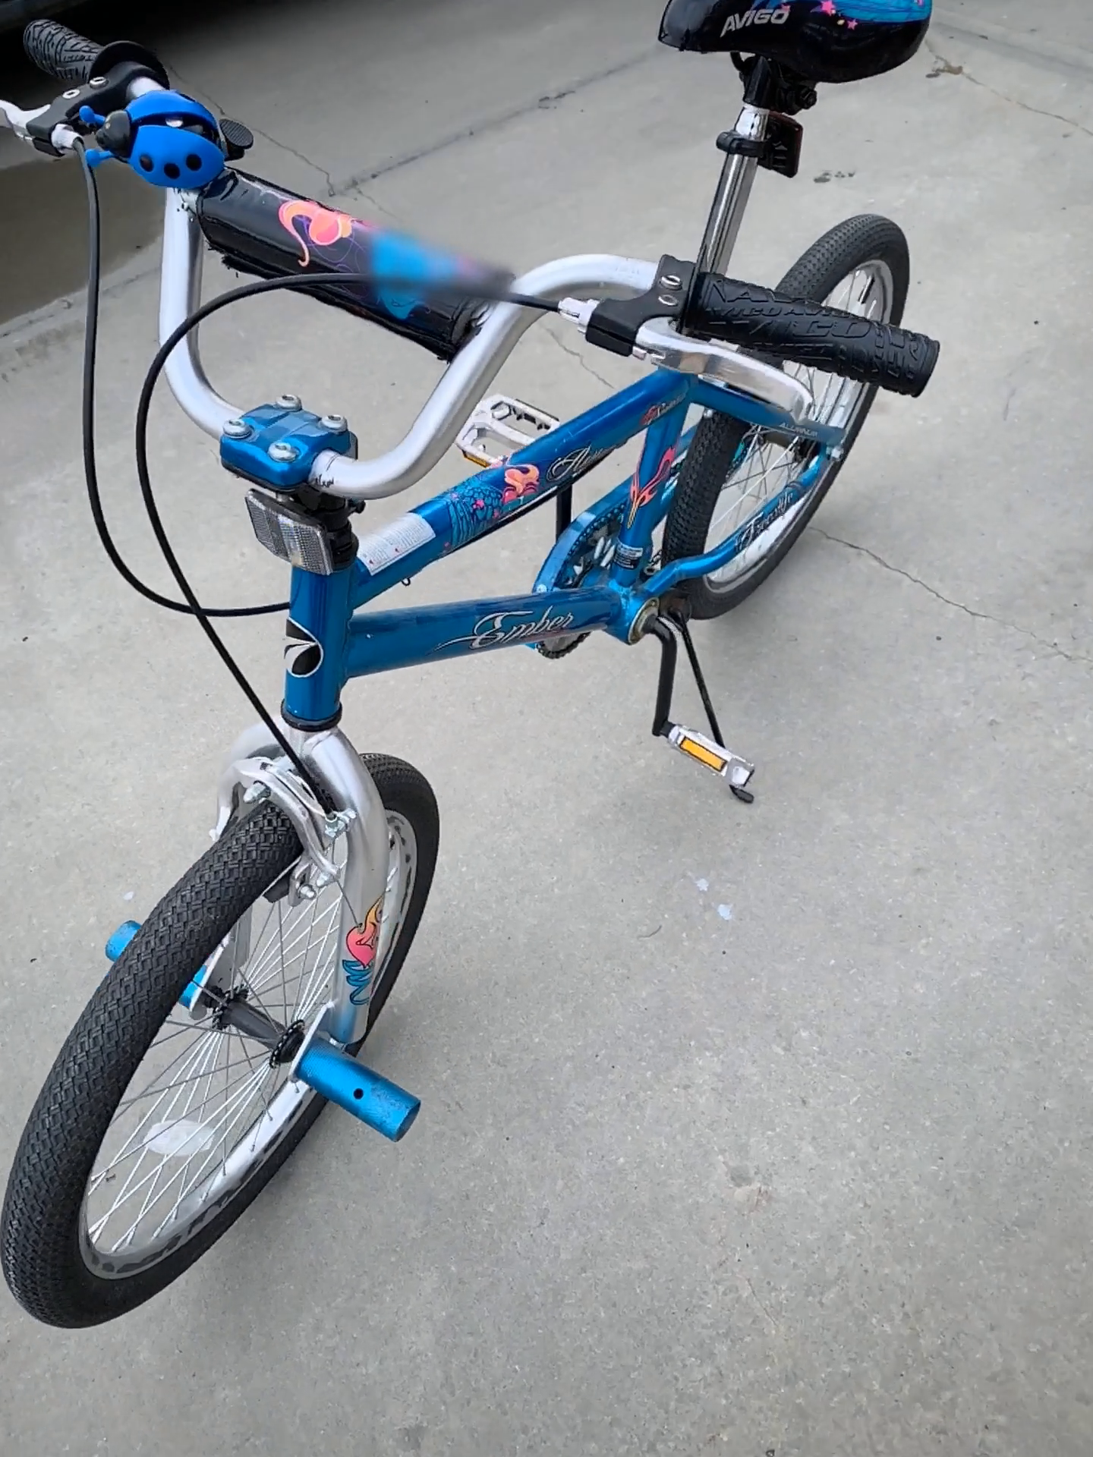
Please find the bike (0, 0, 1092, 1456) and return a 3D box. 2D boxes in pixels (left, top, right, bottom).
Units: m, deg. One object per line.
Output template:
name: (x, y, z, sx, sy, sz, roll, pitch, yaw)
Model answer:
bike: (0.085, -0.128, 0.940, 0.683, 0.837, 1.388, 24, 56, 26)
